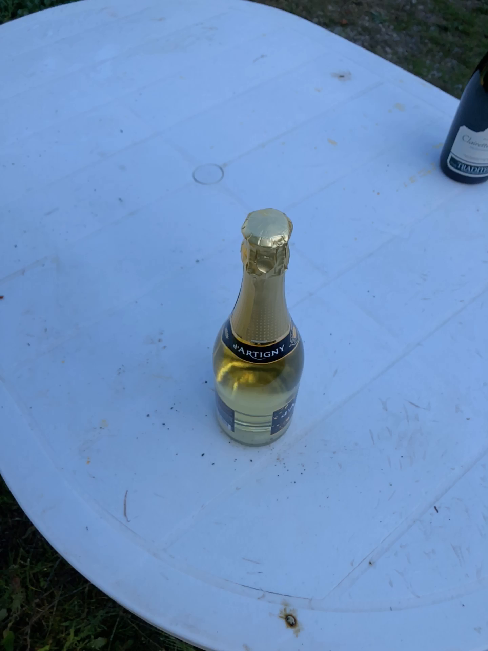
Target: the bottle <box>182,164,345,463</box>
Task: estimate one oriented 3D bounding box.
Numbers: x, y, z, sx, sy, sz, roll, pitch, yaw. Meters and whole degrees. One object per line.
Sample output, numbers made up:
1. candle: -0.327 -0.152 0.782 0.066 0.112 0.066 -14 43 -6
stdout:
1. bottle: 0.013 0.016 0.461 0.090 0.298 0.091 0 56 -1
